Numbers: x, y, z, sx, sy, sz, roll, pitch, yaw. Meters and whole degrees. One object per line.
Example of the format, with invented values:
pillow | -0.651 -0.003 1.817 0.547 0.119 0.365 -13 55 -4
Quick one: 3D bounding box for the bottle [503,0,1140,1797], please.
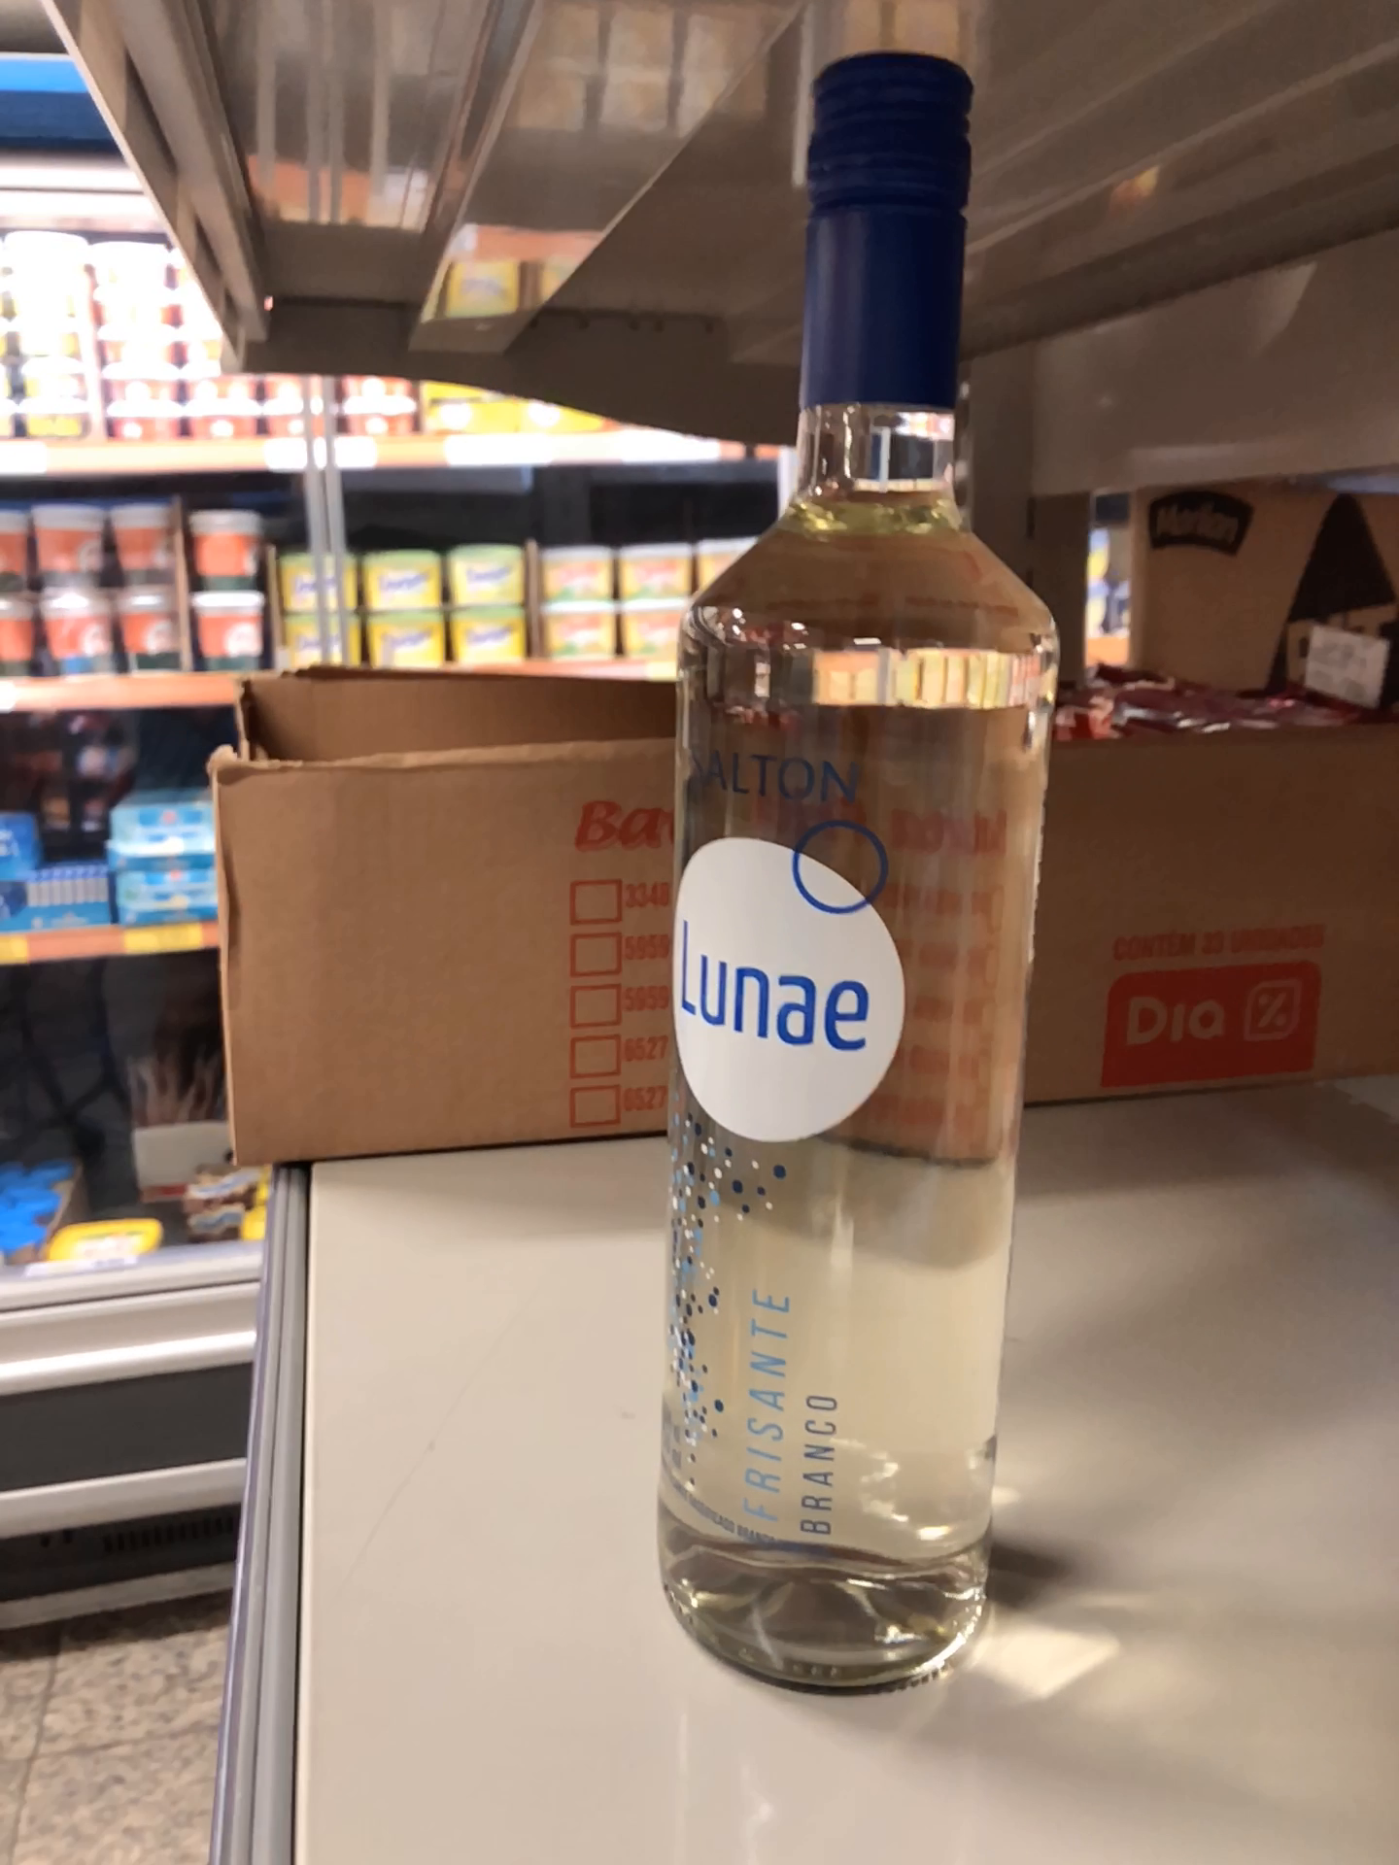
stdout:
bottle | 0.028 -0.004 0.308 0.080 0.309 0.080 -2 13 1
